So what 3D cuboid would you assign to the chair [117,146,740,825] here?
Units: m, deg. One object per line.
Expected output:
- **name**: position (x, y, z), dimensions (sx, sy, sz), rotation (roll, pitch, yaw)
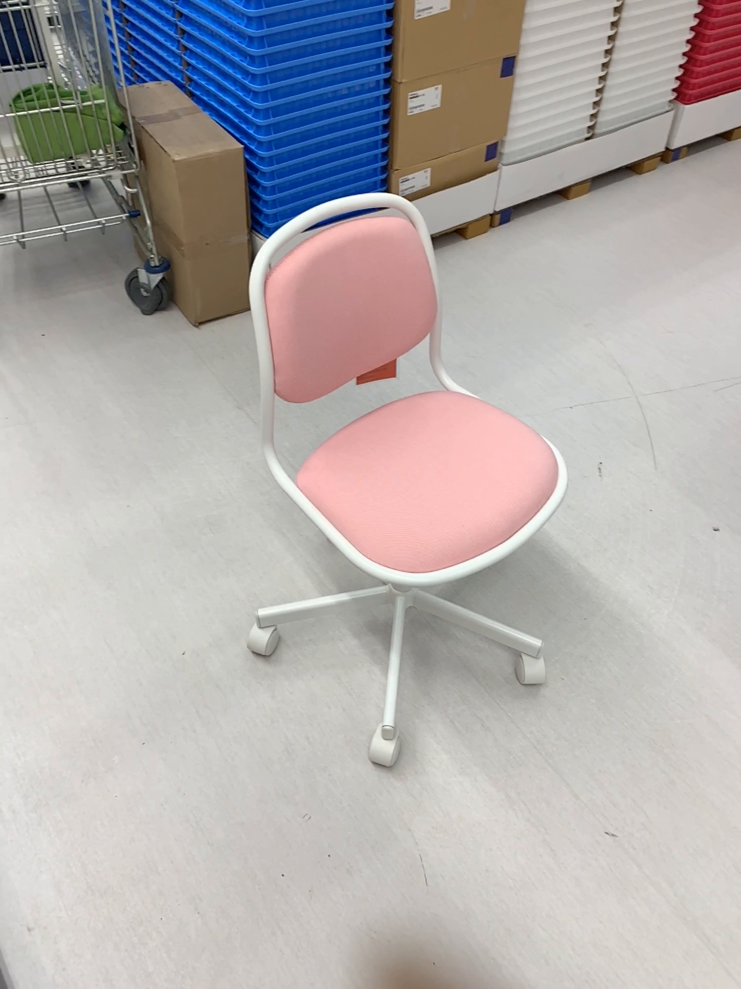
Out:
- **chair**: position (0.071, -0.013, 1.148), dimensions (0.561, 0.698, 0.531), rotation (-29, 55, -25)
